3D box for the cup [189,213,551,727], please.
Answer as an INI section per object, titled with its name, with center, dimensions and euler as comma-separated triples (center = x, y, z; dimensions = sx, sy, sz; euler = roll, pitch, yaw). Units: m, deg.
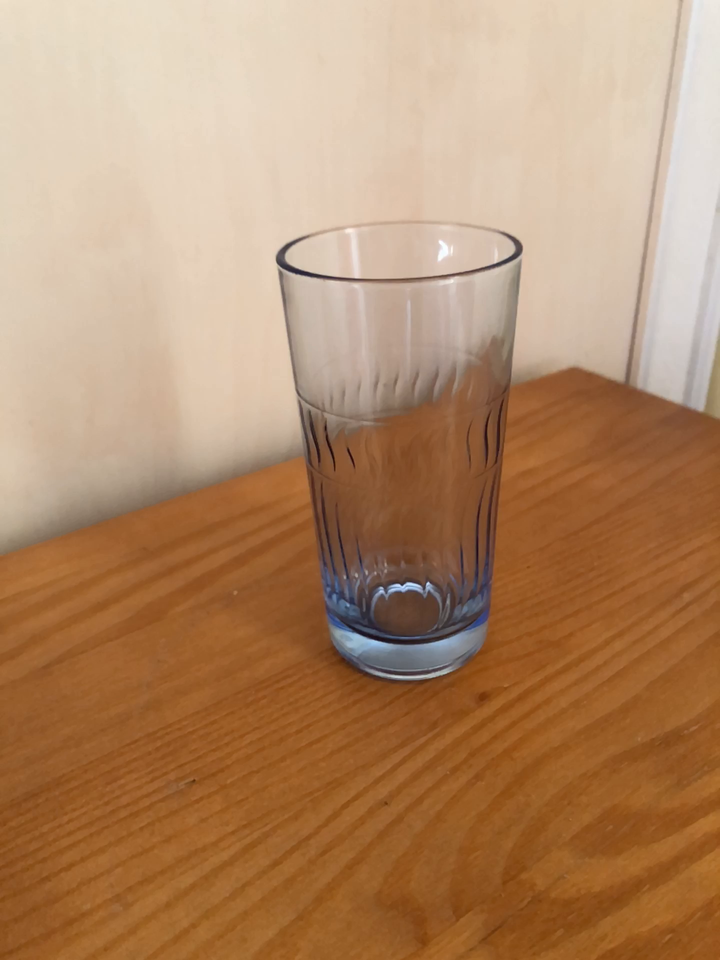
[cup]
center = 0.007, -0.007, 0.250
dimensions = 0.075, 0.129, 0.071
euler = -1, 28, 1
